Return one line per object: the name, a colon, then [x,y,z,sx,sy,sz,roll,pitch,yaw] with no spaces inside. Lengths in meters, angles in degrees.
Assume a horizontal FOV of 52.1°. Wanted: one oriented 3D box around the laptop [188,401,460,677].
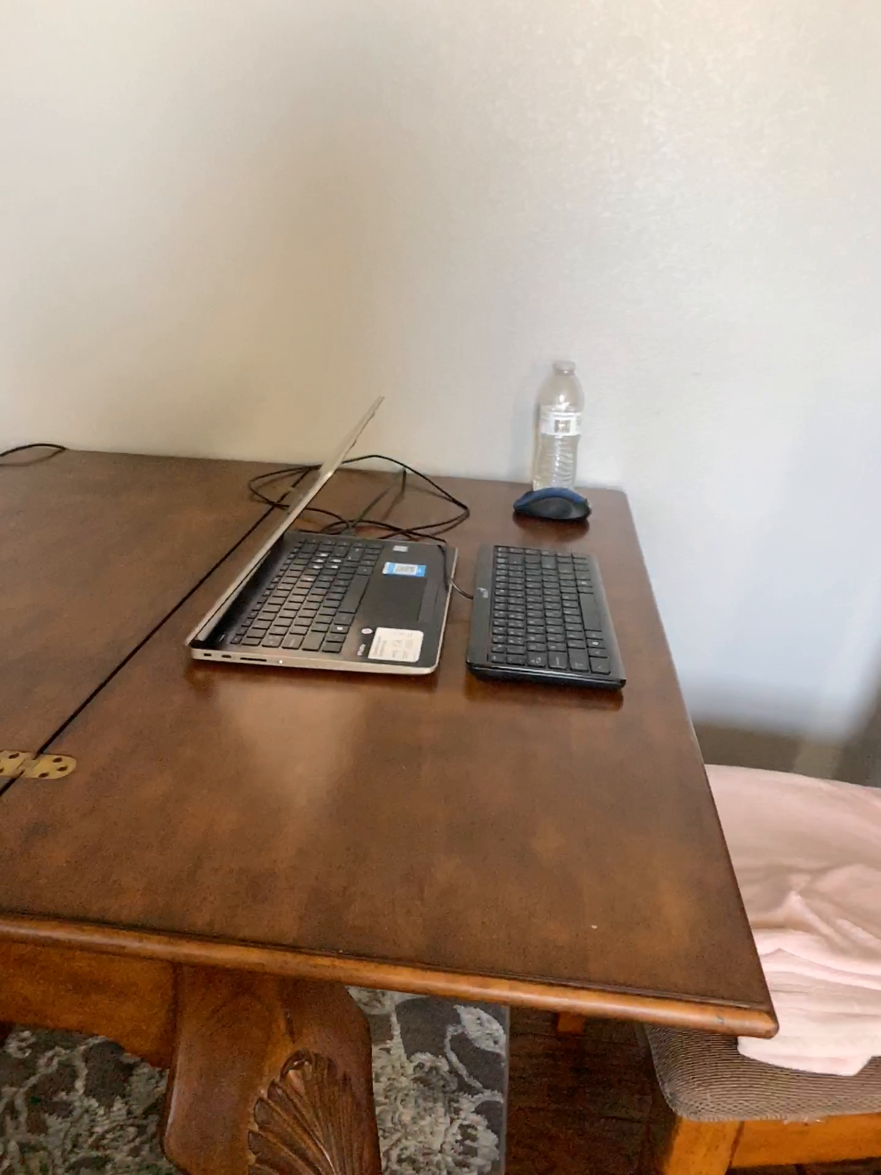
laptop: [-0.092,-0.065,0.875,0.198,0.157,0.304,5,22,3]
